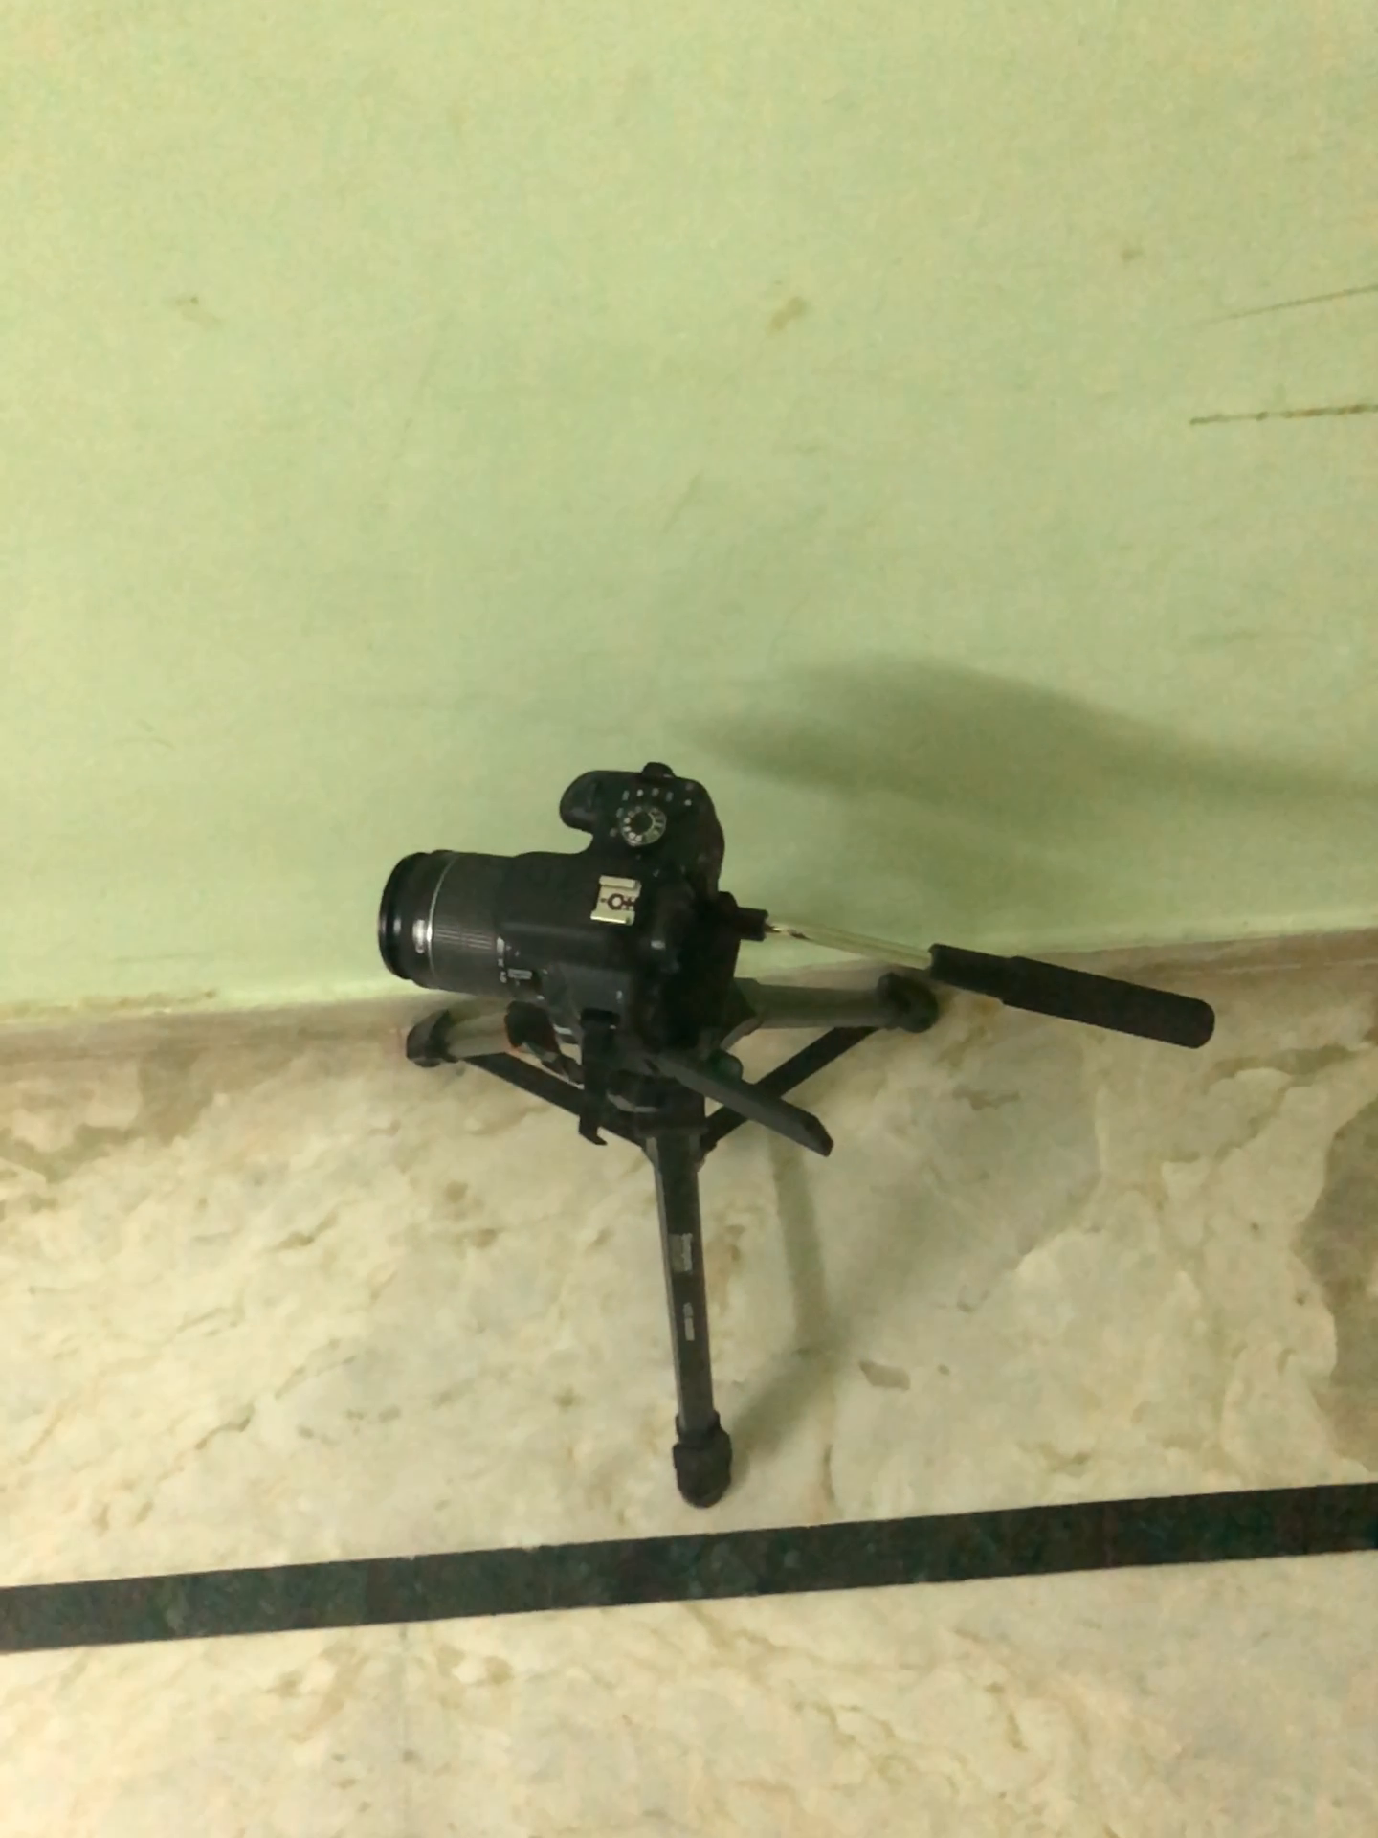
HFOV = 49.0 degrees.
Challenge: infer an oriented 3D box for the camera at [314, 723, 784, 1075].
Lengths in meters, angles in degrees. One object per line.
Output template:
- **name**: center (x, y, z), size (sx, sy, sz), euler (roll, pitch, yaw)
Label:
- **camera**: center (-0.058, -0.008, 0.718), size (0.190, 0.100, 0.130), euler (3, 71, 8)
